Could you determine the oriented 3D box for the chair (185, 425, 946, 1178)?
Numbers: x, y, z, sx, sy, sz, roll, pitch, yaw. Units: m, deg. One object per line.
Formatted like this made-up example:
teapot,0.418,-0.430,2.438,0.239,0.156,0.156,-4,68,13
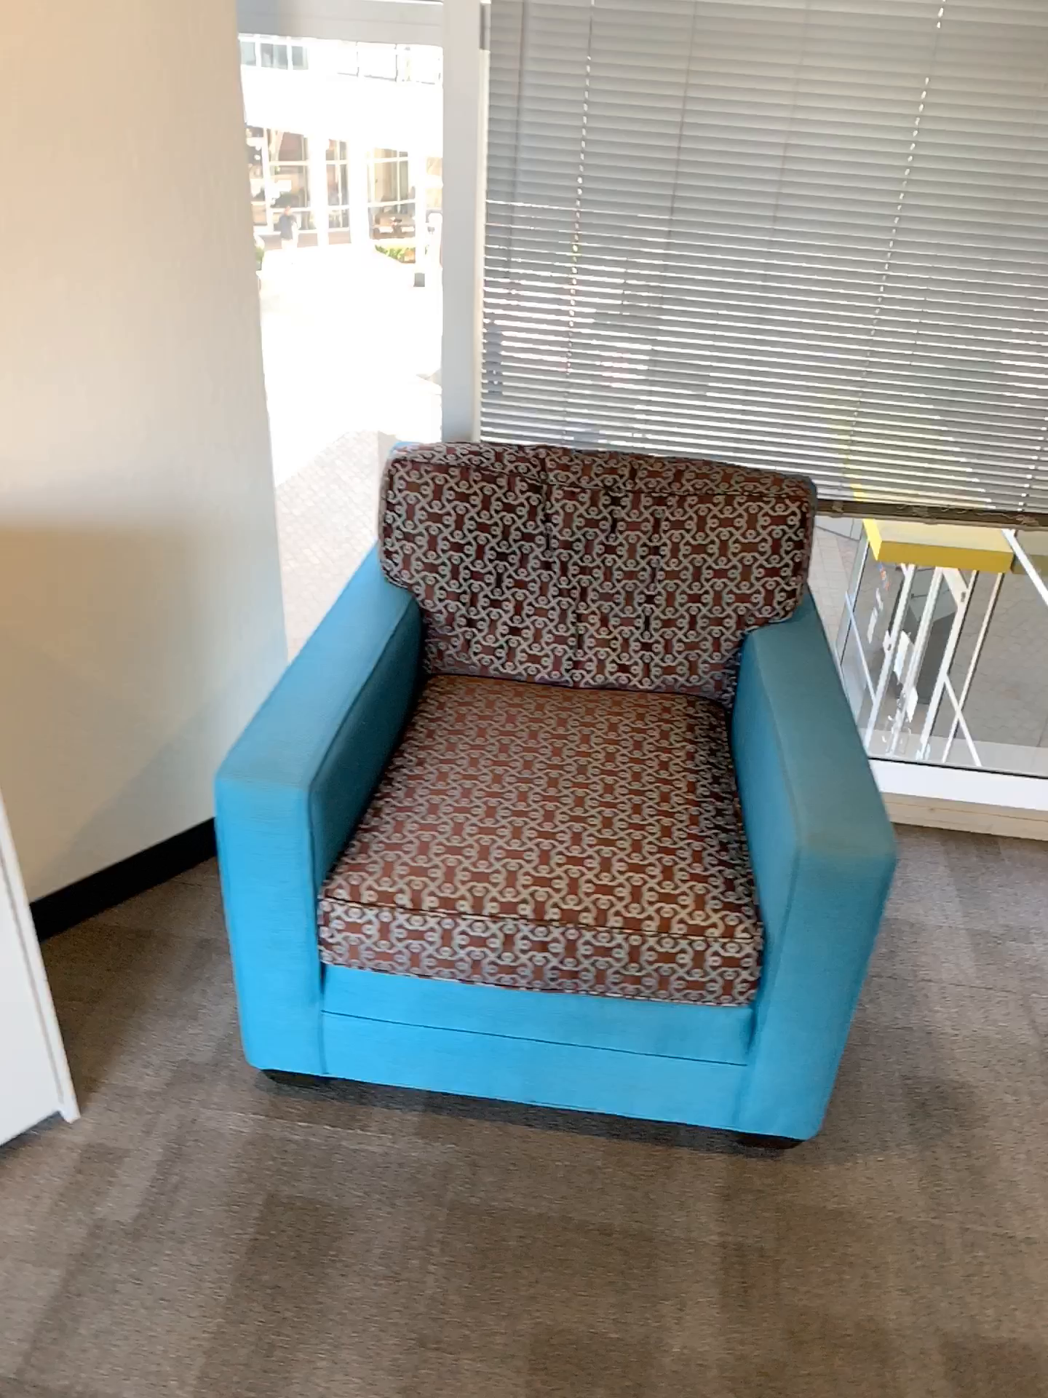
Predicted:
chair,0.077,0.101,1.874,0.910,0.825,0.925,6,32,5
